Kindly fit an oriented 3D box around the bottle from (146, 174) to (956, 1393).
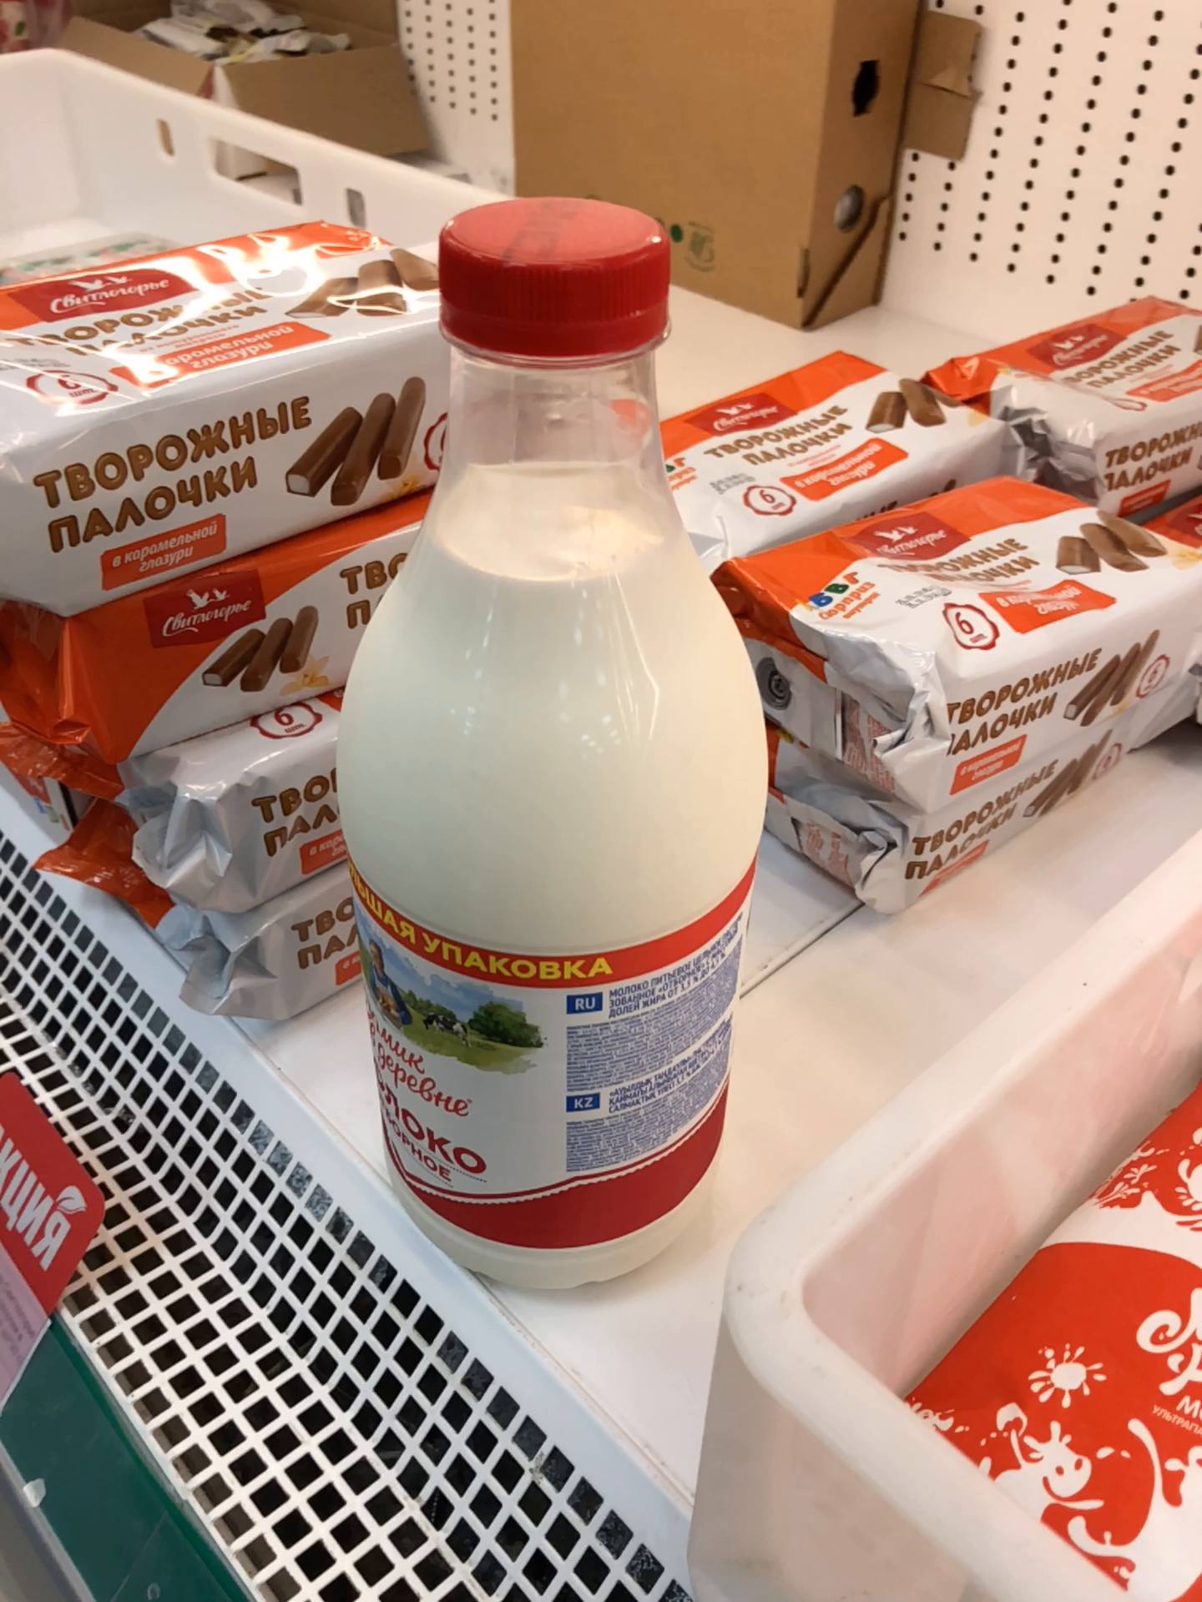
[{"bbox_3d":[-0.011,0.006,0.308,0.100,0.249,0.100,1,39,0],"label":"bottle"}]
